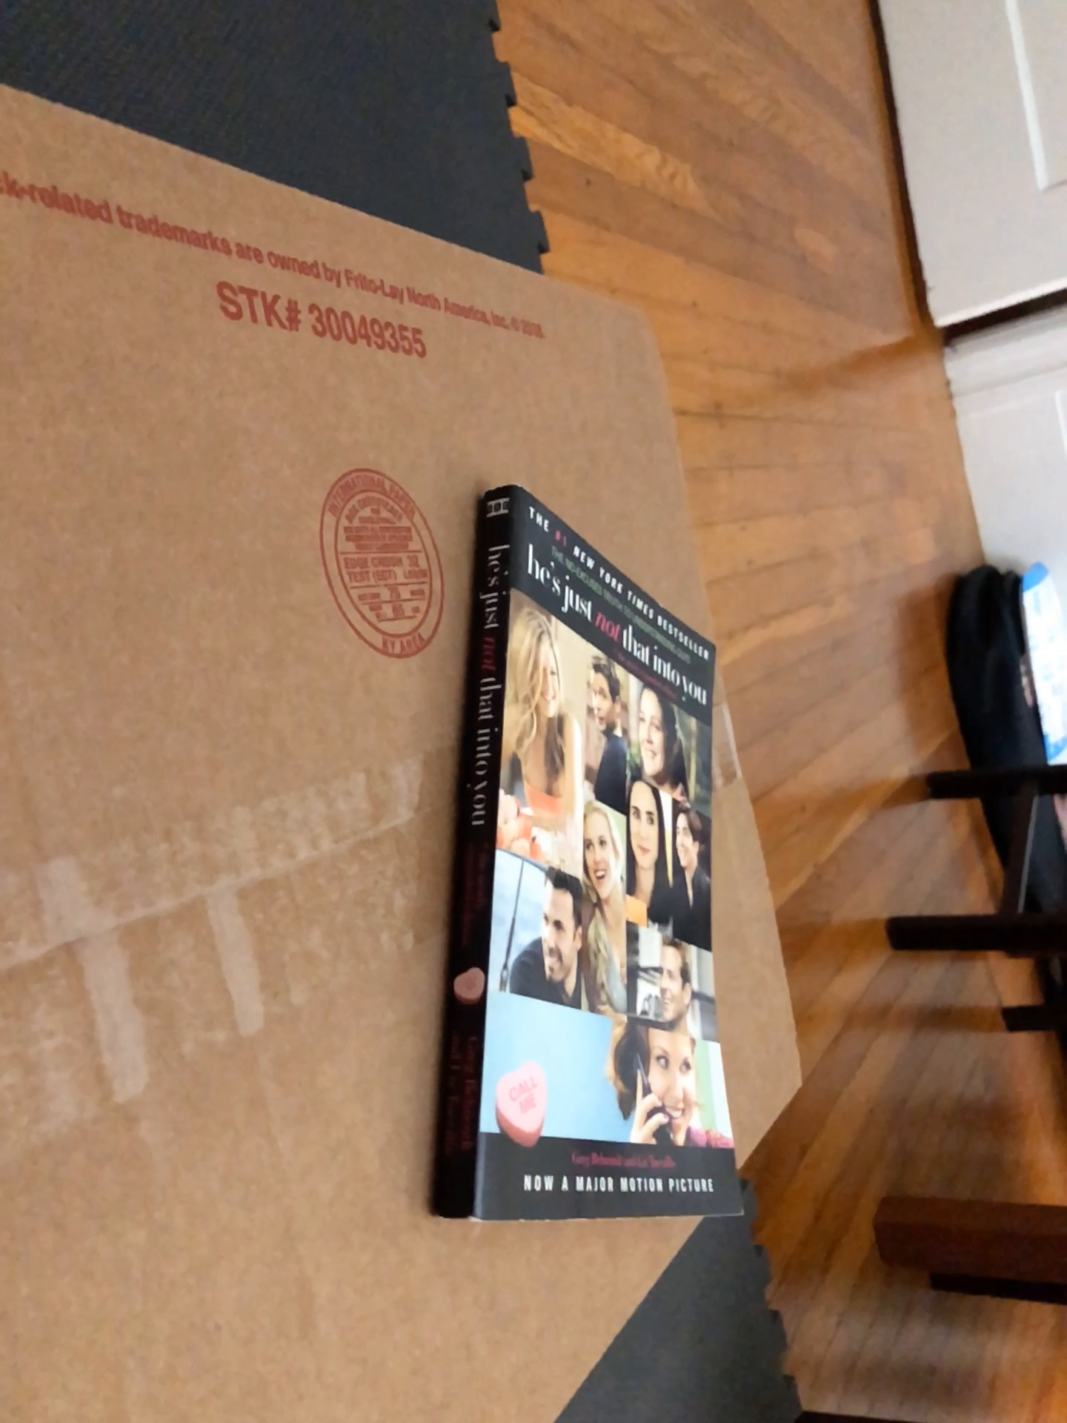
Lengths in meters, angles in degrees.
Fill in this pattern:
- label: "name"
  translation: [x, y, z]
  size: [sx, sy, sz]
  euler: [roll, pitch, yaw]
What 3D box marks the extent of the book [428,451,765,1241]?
- label: "book"
  translation: [0.030, 0.048, 0.377]
  size: [0.161, 0.020, 0.210]
  euler: [28, 58, -52]
